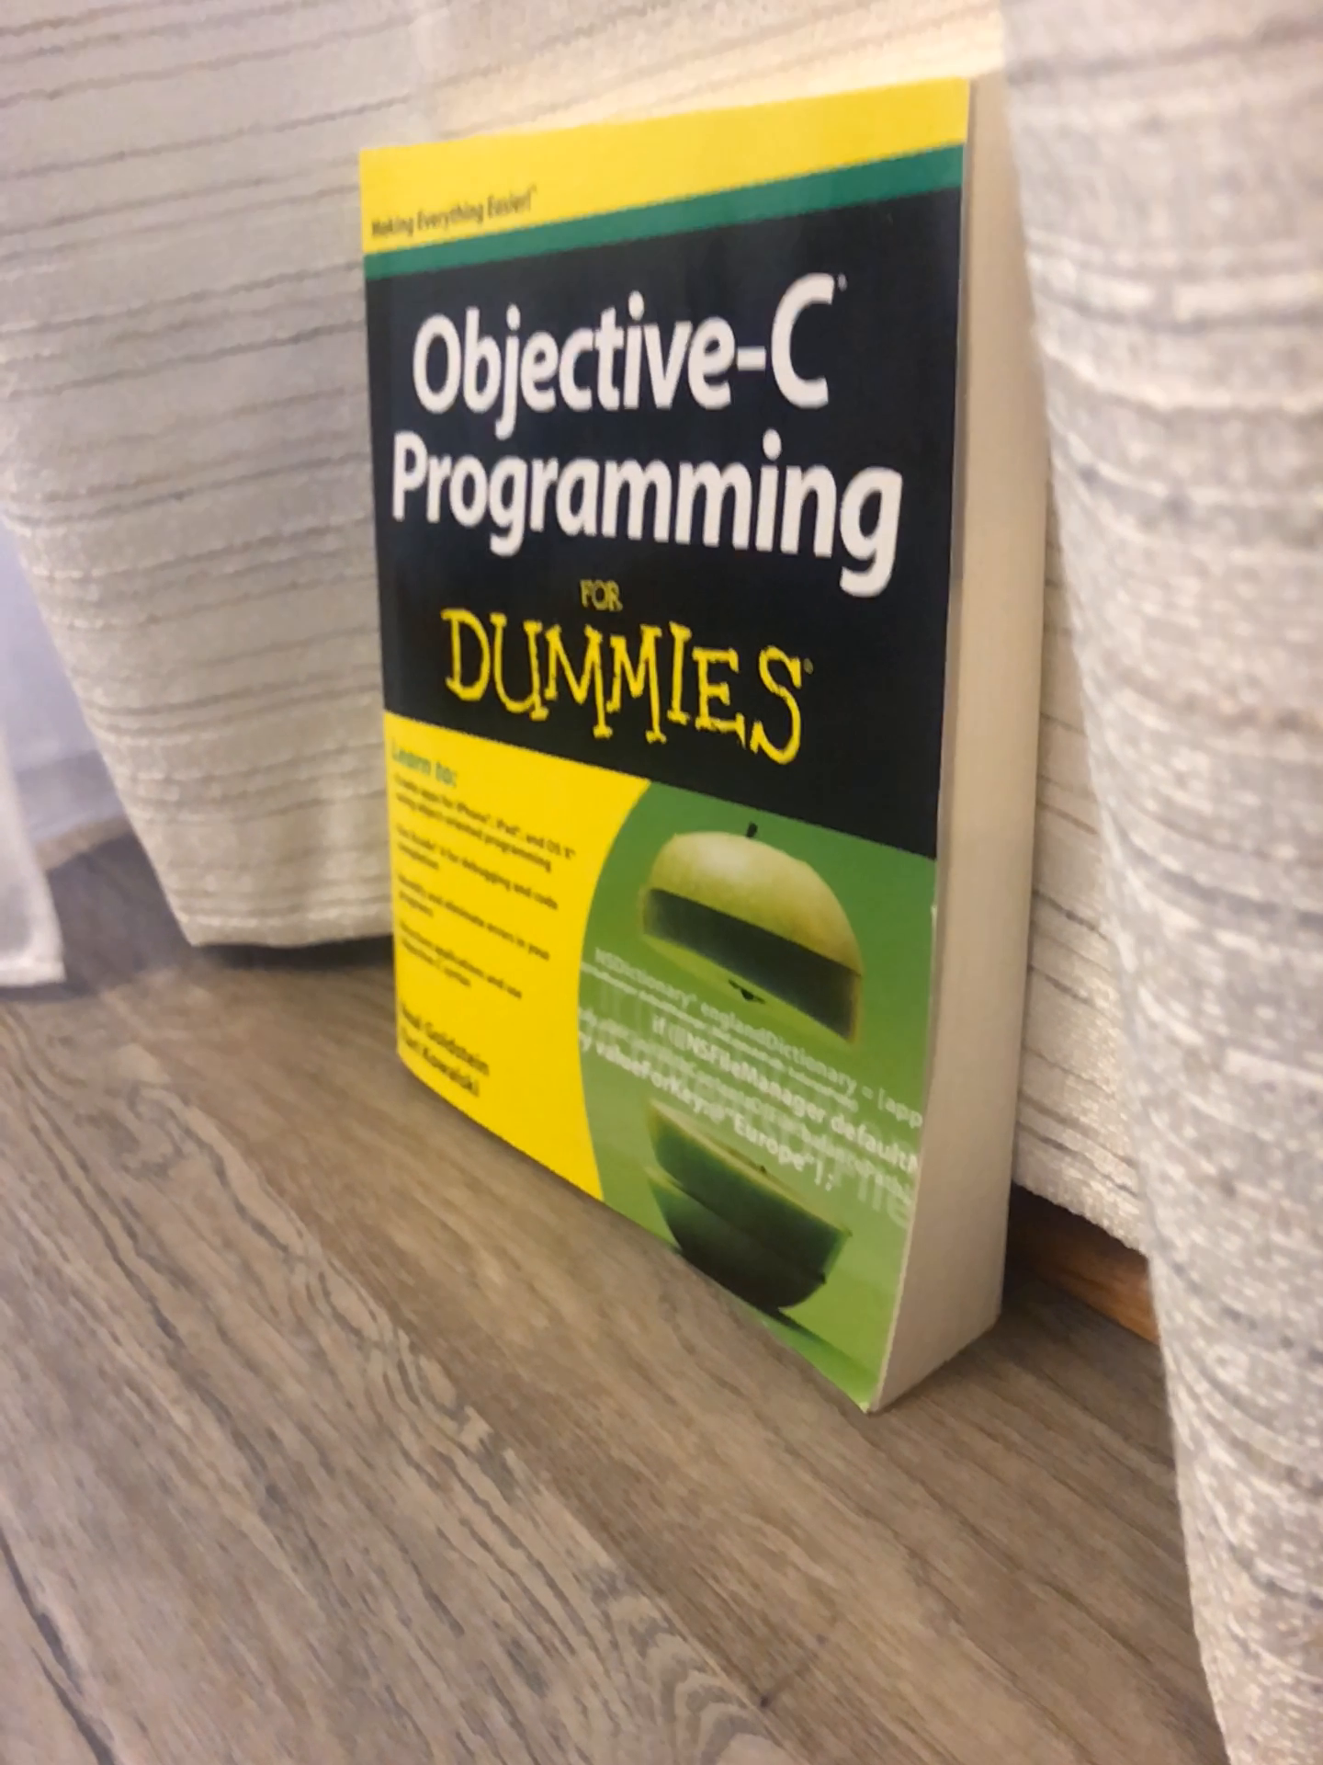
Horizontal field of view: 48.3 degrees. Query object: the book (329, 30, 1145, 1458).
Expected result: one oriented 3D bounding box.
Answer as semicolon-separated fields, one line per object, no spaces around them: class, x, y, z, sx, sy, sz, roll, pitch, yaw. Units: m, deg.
book;-0.002;-0.032;0.307;0.033;0.230;0.184;-15;25;-37
